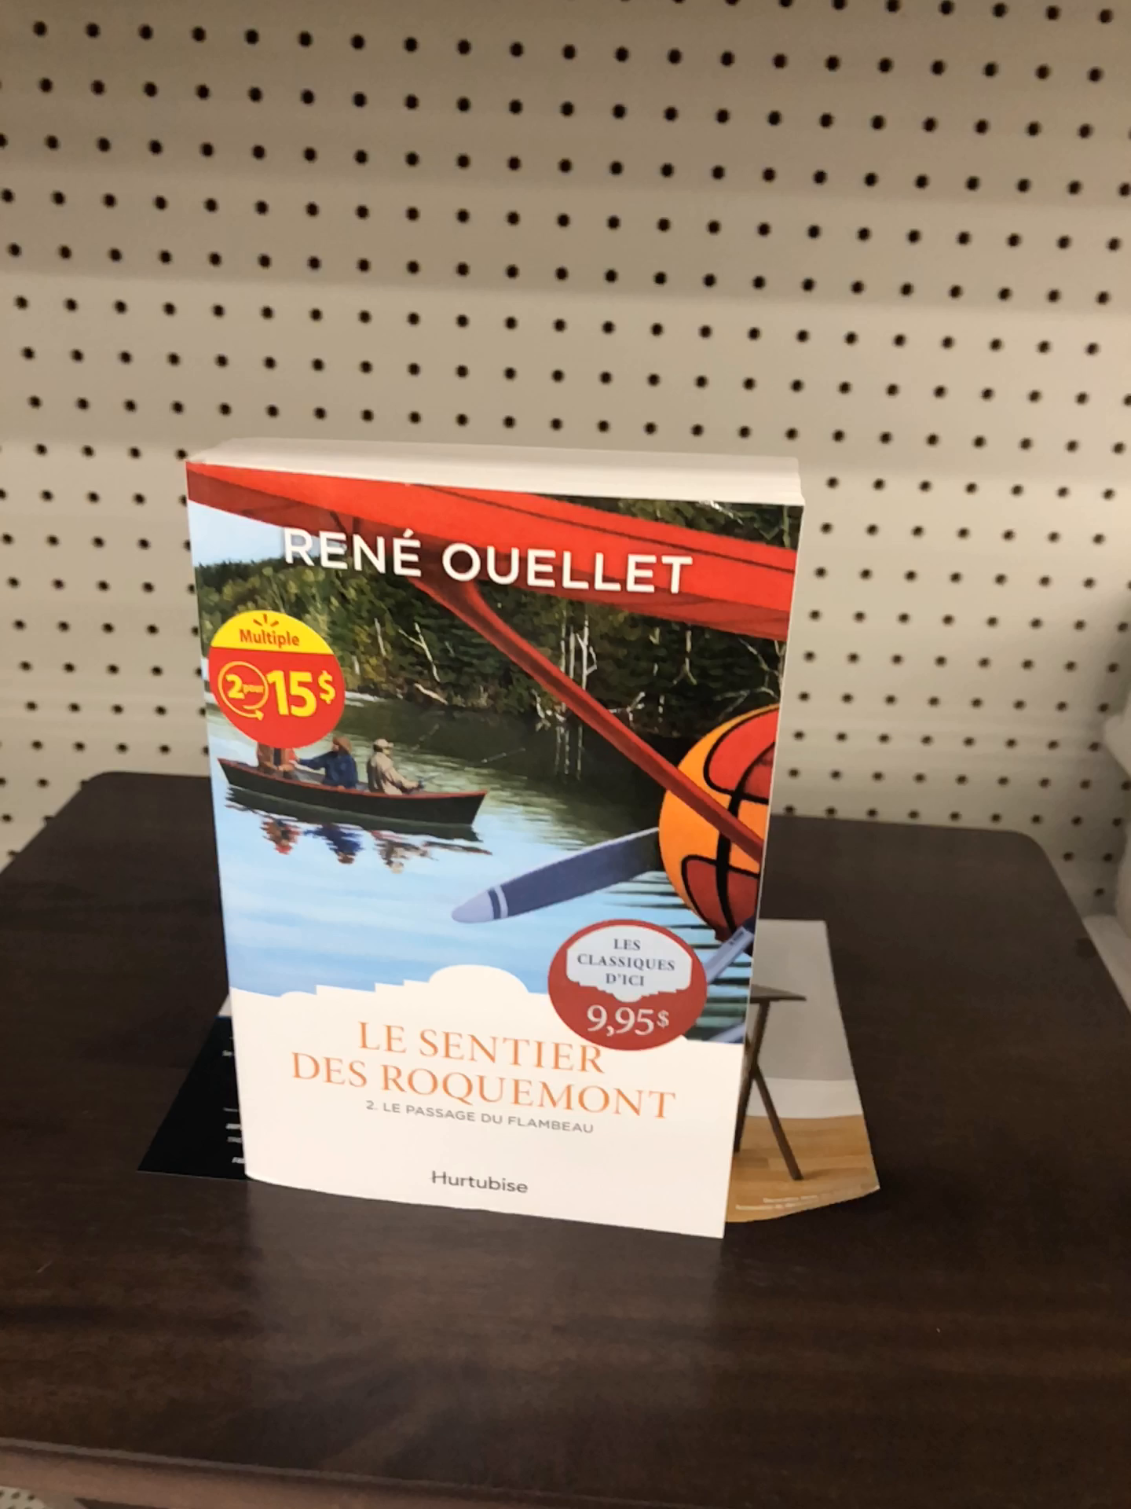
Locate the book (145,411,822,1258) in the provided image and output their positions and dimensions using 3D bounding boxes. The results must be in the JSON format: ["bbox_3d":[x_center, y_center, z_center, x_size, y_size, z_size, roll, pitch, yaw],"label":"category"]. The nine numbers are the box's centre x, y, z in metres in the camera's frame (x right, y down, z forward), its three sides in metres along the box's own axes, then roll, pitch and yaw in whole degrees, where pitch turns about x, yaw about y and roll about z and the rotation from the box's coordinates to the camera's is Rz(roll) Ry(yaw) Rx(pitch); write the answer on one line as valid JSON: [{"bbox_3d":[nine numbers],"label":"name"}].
[{"bbox_3d":[-0.021,0.024,0.351,0.153,0.215,0.065,5,23,5],"label":"book"}]
